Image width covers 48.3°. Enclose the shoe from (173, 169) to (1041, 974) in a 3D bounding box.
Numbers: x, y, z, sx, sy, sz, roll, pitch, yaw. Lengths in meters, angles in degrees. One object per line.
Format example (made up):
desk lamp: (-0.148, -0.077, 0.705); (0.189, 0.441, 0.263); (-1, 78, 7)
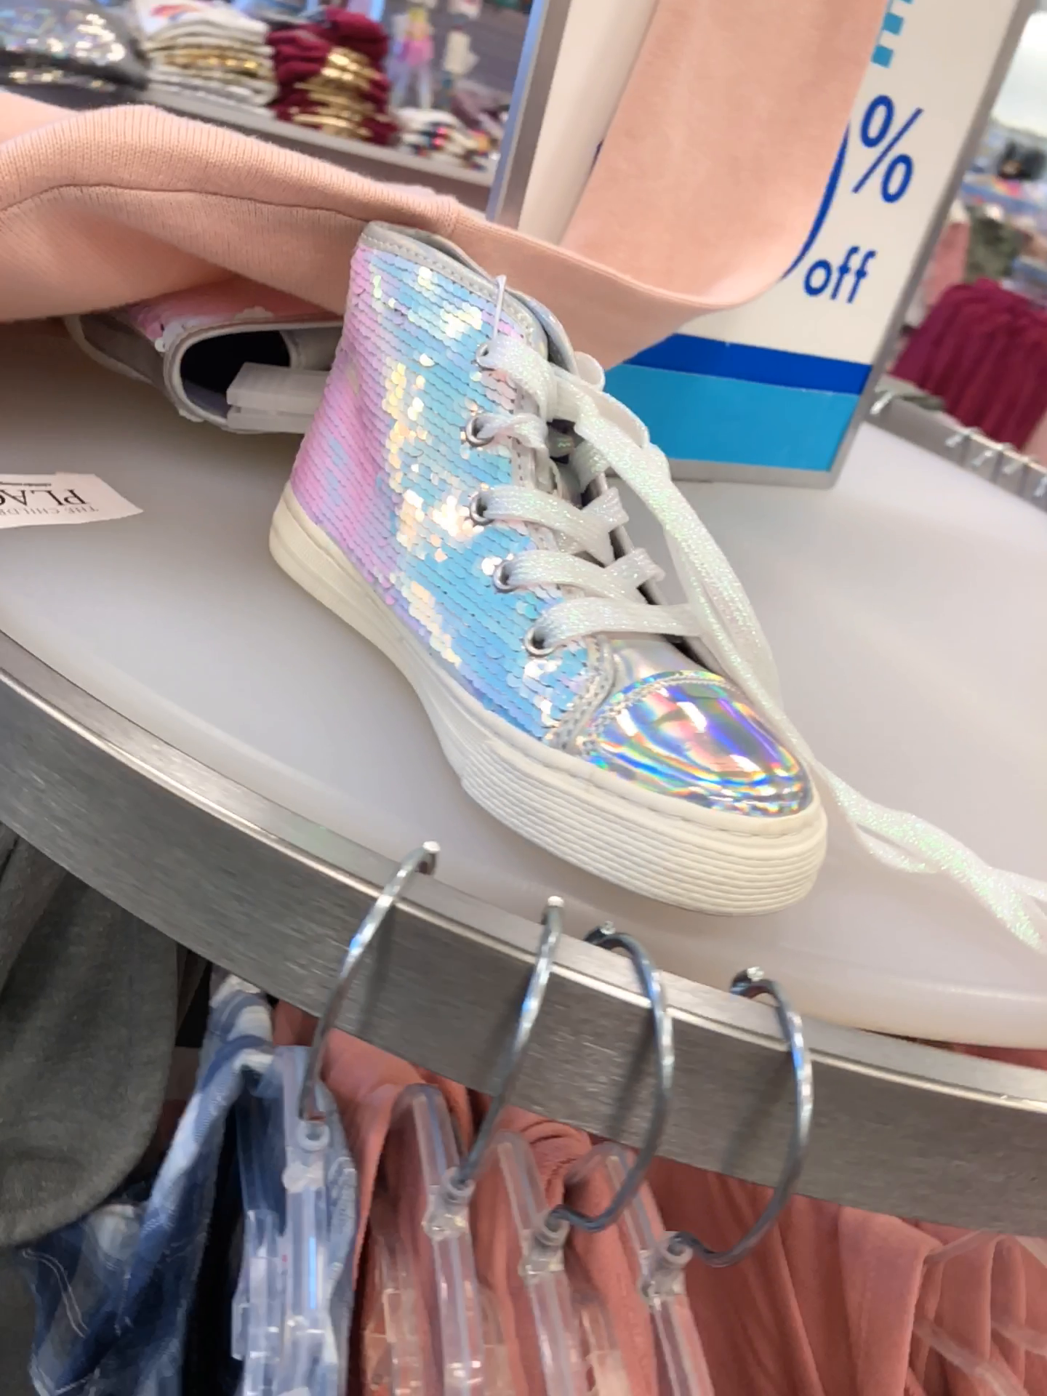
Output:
shoe: (0.000, -0.049, 0.308); (0.090, 0.105, 0.212); (-7, 37, -40)
